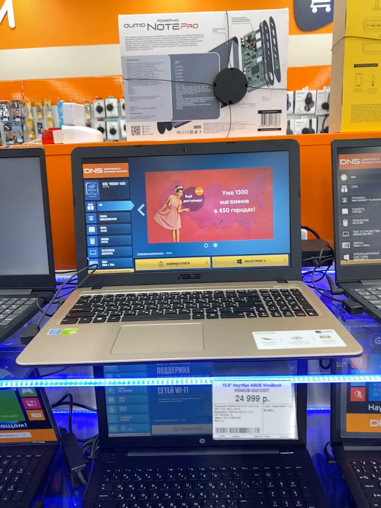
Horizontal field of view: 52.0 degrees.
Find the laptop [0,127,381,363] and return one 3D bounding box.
[{"bbox_3d":[-0.004,-0.035,0.538,0.376,0.230,0.294,-2,13,1],"label":"laptop"}]
